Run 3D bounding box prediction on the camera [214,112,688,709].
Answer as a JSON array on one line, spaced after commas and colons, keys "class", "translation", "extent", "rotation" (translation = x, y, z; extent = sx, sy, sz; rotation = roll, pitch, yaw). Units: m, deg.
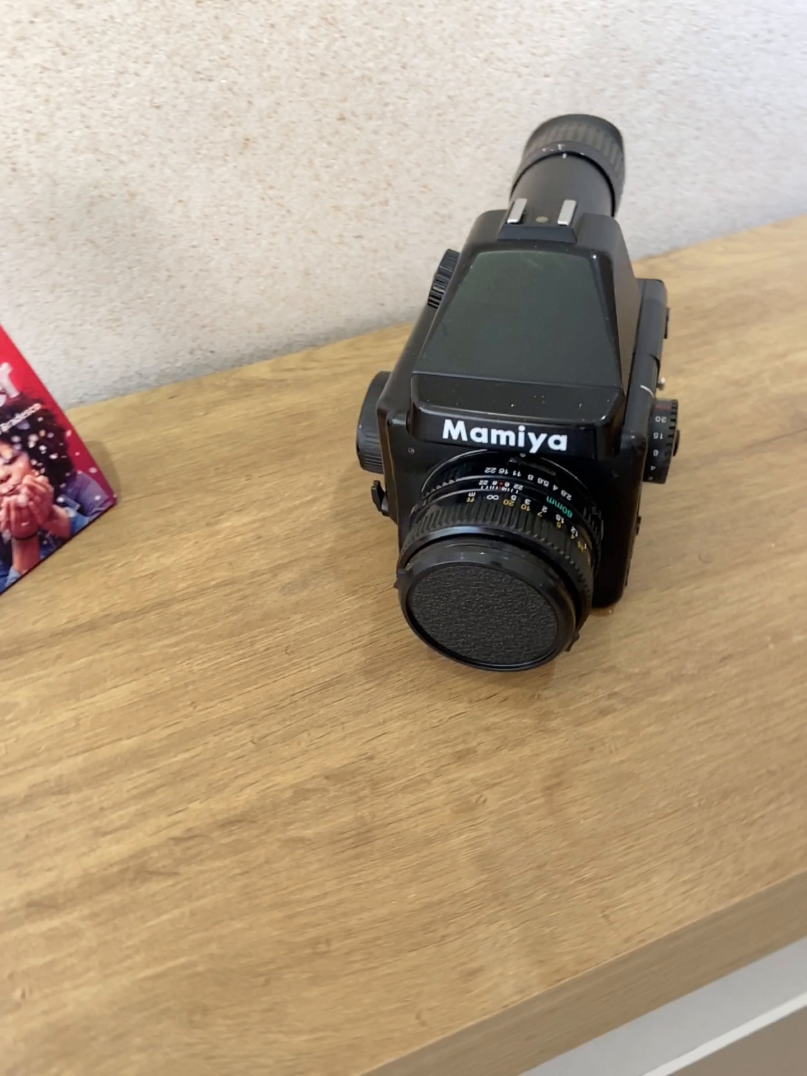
[{"class": "camera", "translation": [0.038, -0.066, 0.321], "extent": [0.120, 0.109, 0.221], "rotation": [5, 45, 13]}]
